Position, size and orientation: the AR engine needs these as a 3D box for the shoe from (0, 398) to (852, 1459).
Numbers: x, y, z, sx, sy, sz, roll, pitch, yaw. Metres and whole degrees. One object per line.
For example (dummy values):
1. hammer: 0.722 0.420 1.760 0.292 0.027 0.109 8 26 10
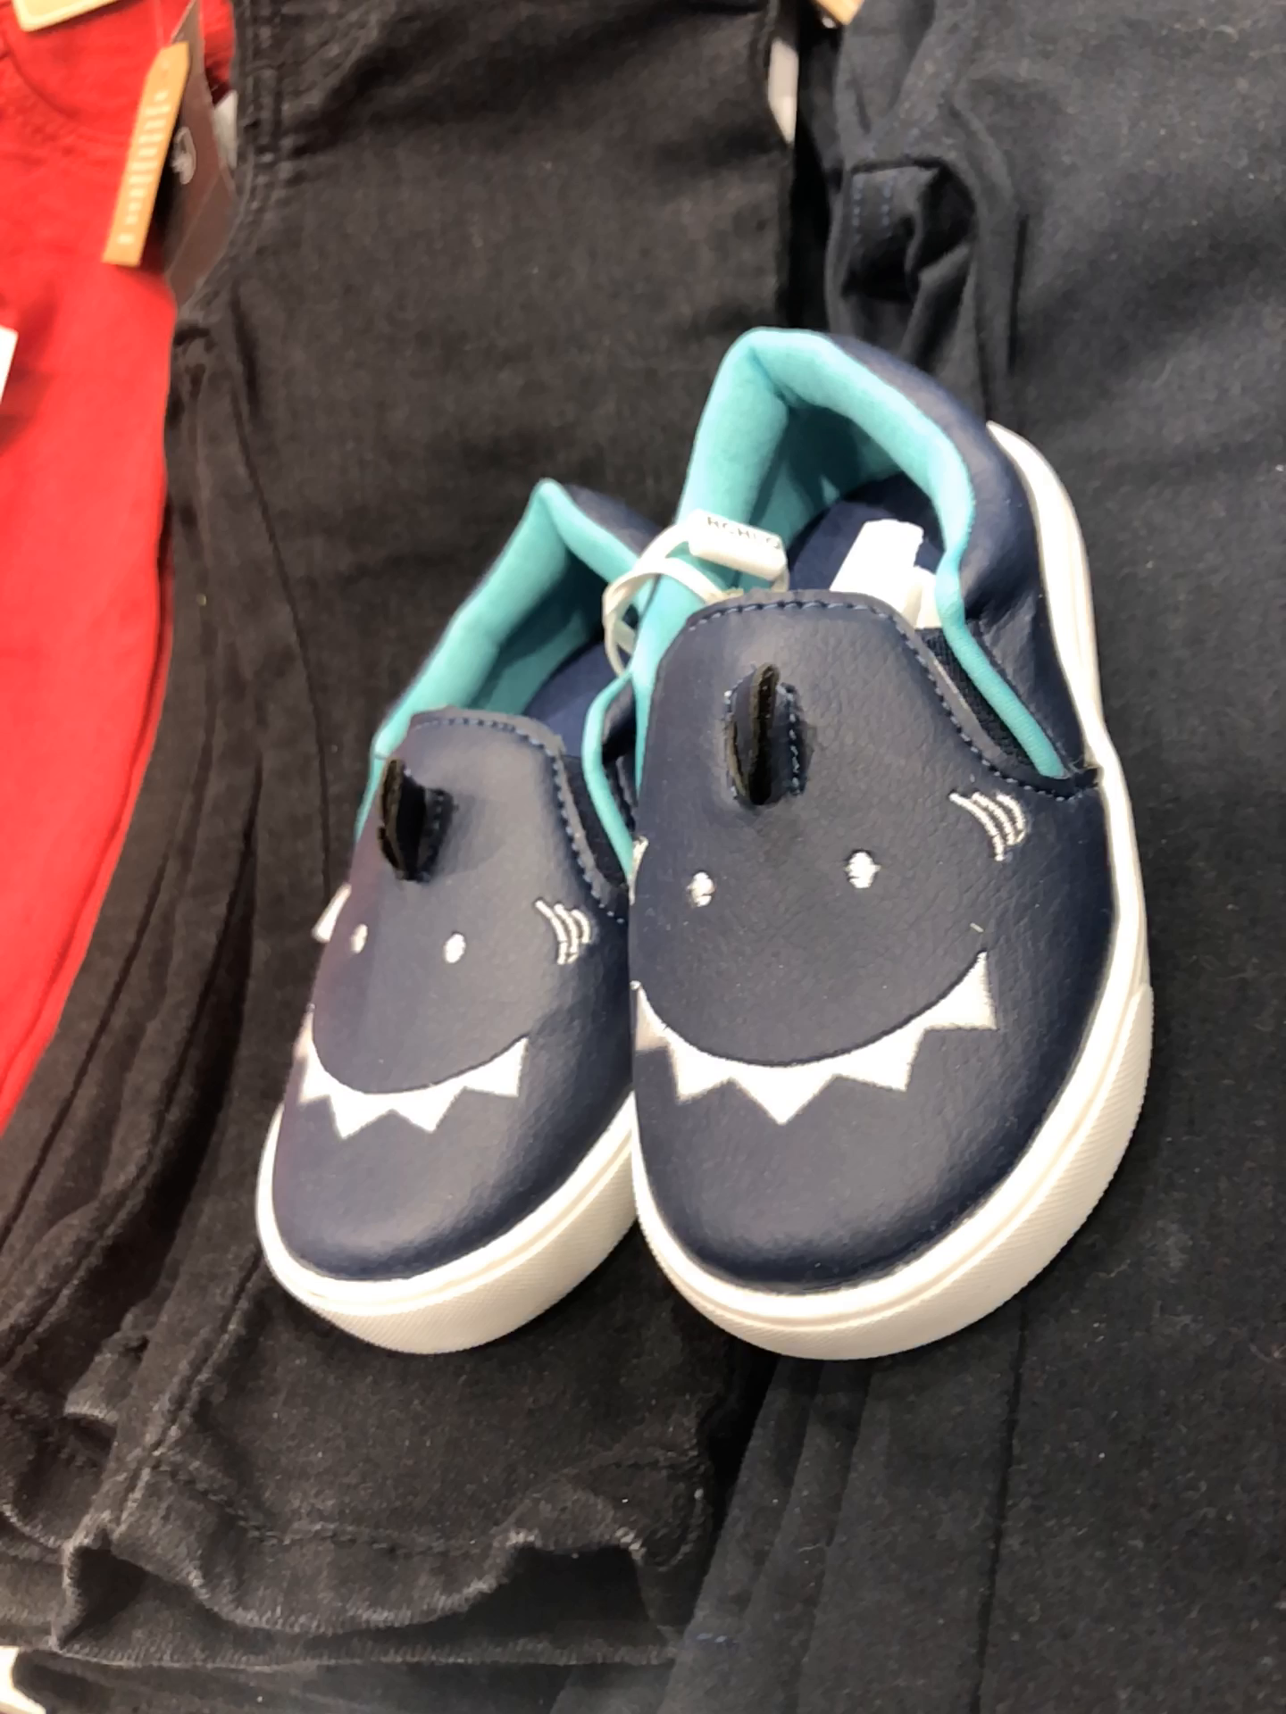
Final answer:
1. shoe: -0.028 0.003 0.230 0.080 0.050 0.150 2 57 29

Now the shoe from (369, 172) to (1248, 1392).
1. shoe: 0.028 -0.014 0.193 0.080 0.050 0.151 -7 53 23
